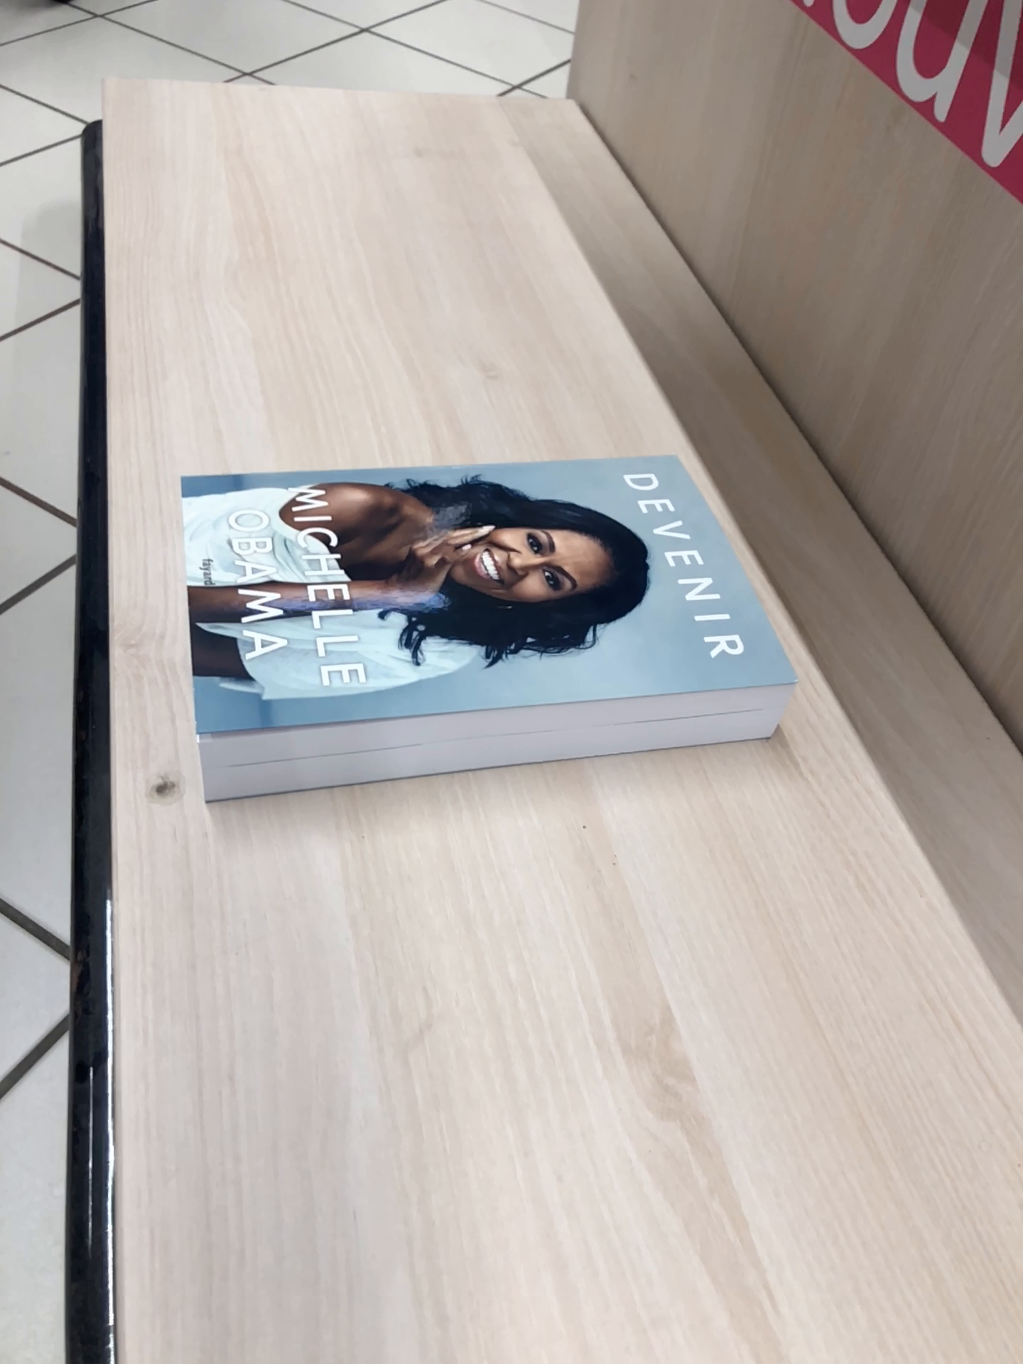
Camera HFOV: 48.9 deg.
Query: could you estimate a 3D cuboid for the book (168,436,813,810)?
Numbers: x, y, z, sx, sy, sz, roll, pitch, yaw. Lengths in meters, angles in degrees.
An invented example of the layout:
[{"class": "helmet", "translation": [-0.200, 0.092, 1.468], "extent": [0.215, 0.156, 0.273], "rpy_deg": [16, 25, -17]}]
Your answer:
[{"class": "book", "translation": [-0.018, -0.036, 0.481], "extent": [0.240, 0.040, 0.164], "rpy_deg": [-5, 48, -13]}]
